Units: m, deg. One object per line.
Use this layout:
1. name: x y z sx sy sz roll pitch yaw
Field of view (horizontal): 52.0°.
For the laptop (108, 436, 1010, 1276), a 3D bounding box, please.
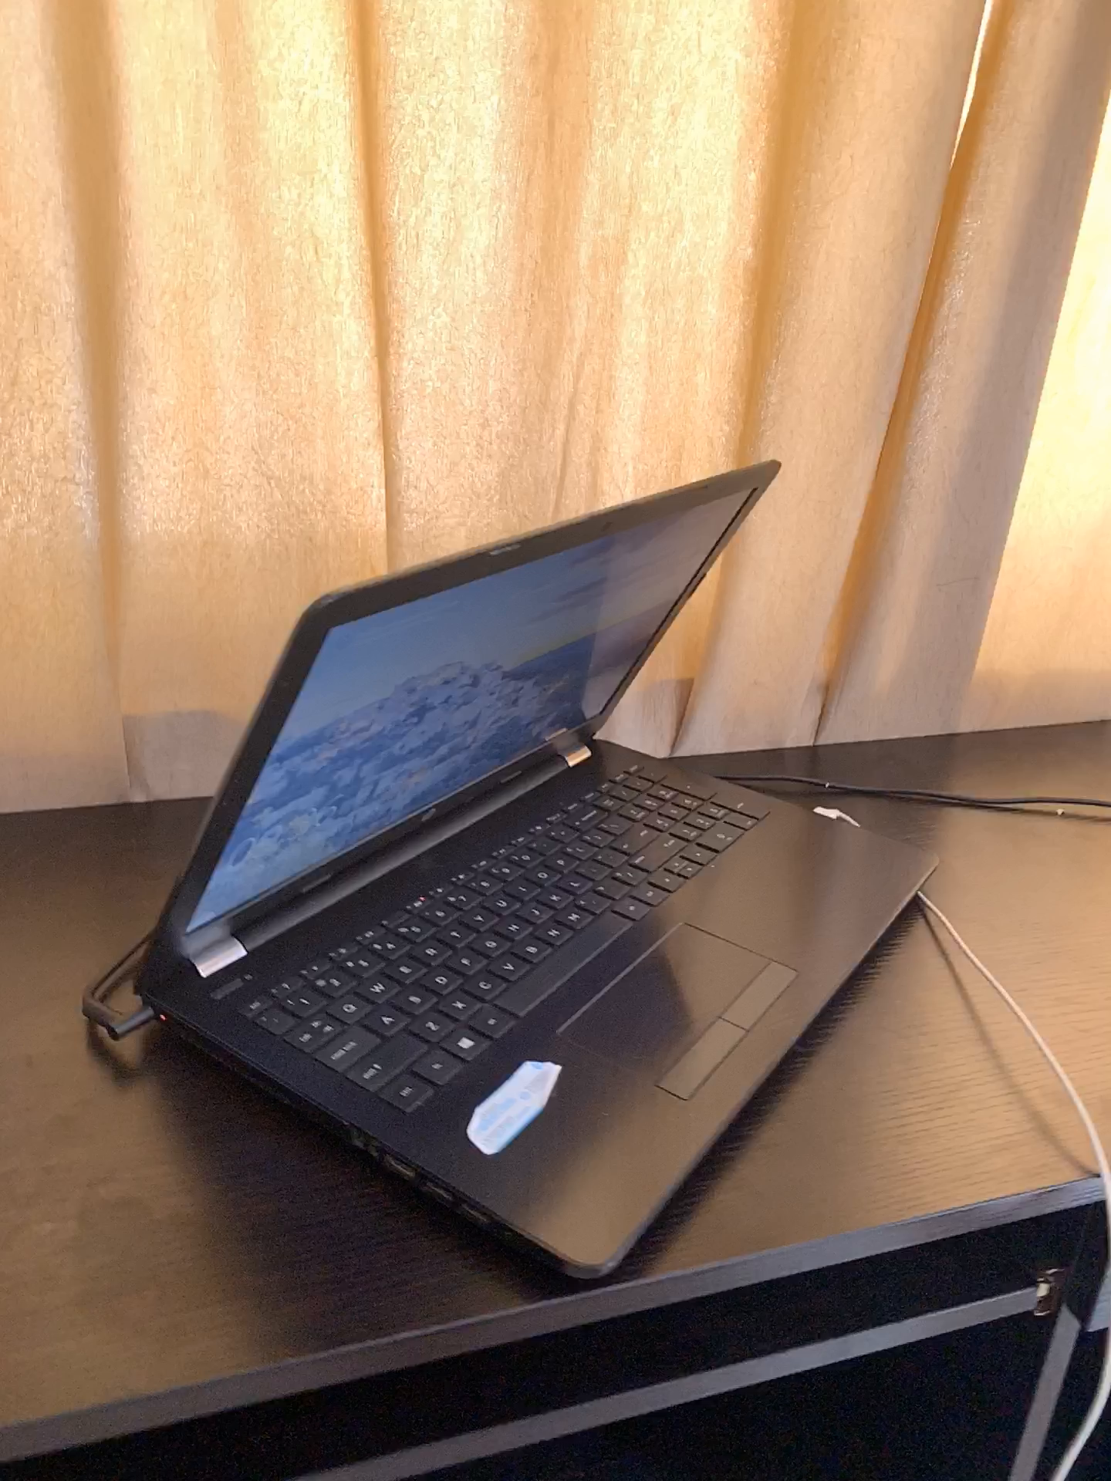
1. laptop: 0.026 -0.002 0.552 0.238 0.201 0.364 20 29 31
